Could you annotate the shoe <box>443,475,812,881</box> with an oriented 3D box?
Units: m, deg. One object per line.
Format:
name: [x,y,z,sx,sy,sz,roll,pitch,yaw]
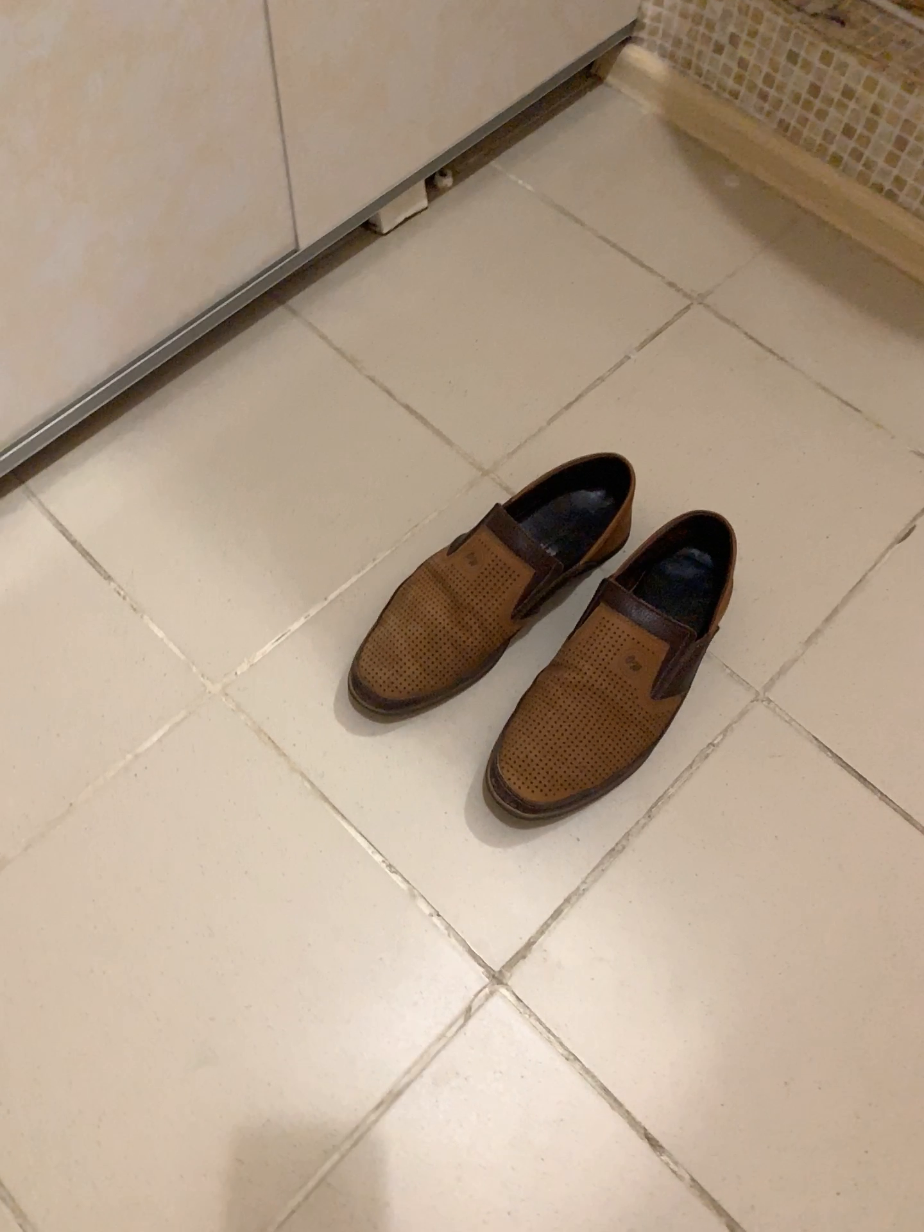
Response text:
shoe: [0.123,0.040,0.703,0.110,0.090,0.290,38,67,16]

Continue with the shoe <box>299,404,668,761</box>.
shoe: [0.020,-0.031,0.717,0.110,0.080,0.270,42,69,17]
